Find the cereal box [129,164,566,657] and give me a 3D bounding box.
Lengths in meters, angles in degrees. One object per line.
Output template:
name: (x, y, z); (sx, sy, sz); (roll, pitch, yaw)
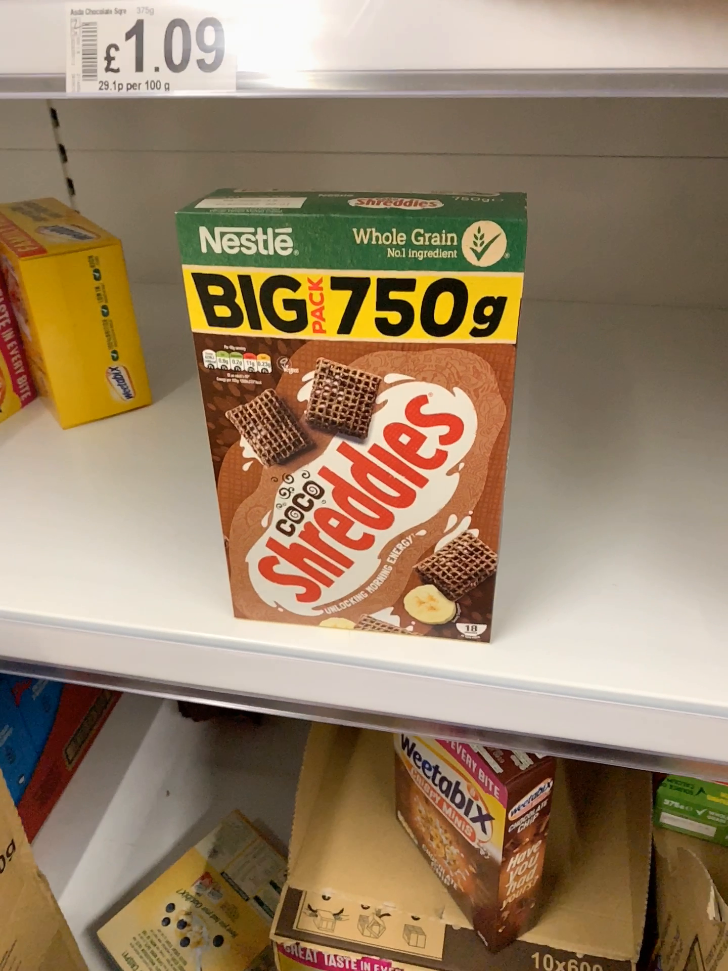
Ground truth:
cereal box: (-0.002, -0.037, 0.465); (0.210, 0.287, 0.081); (4, 33, 9)
